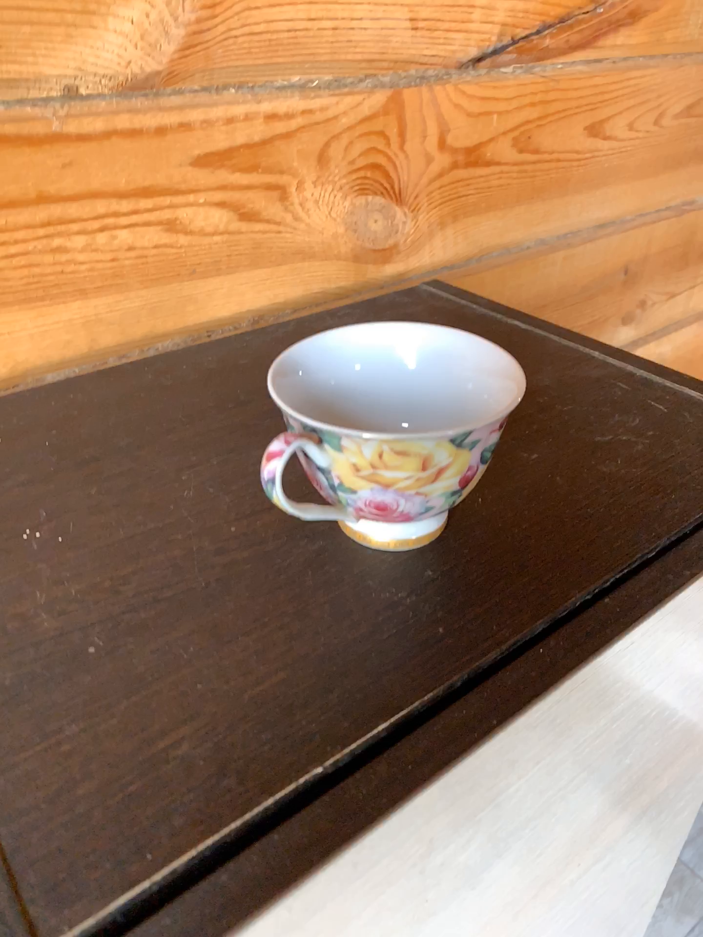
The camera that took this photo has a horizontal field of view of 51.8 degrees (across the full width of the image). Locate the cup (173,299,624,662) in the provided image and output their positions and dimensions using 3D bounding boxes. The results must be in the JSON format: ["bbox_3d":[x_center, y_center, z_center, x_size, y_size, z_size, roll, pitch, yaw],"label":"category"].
[{"bbox_3d":[0.016,-0.008,0.267,0.120,0.059,0.101,-23,38,-32],"label":"cup"}]
